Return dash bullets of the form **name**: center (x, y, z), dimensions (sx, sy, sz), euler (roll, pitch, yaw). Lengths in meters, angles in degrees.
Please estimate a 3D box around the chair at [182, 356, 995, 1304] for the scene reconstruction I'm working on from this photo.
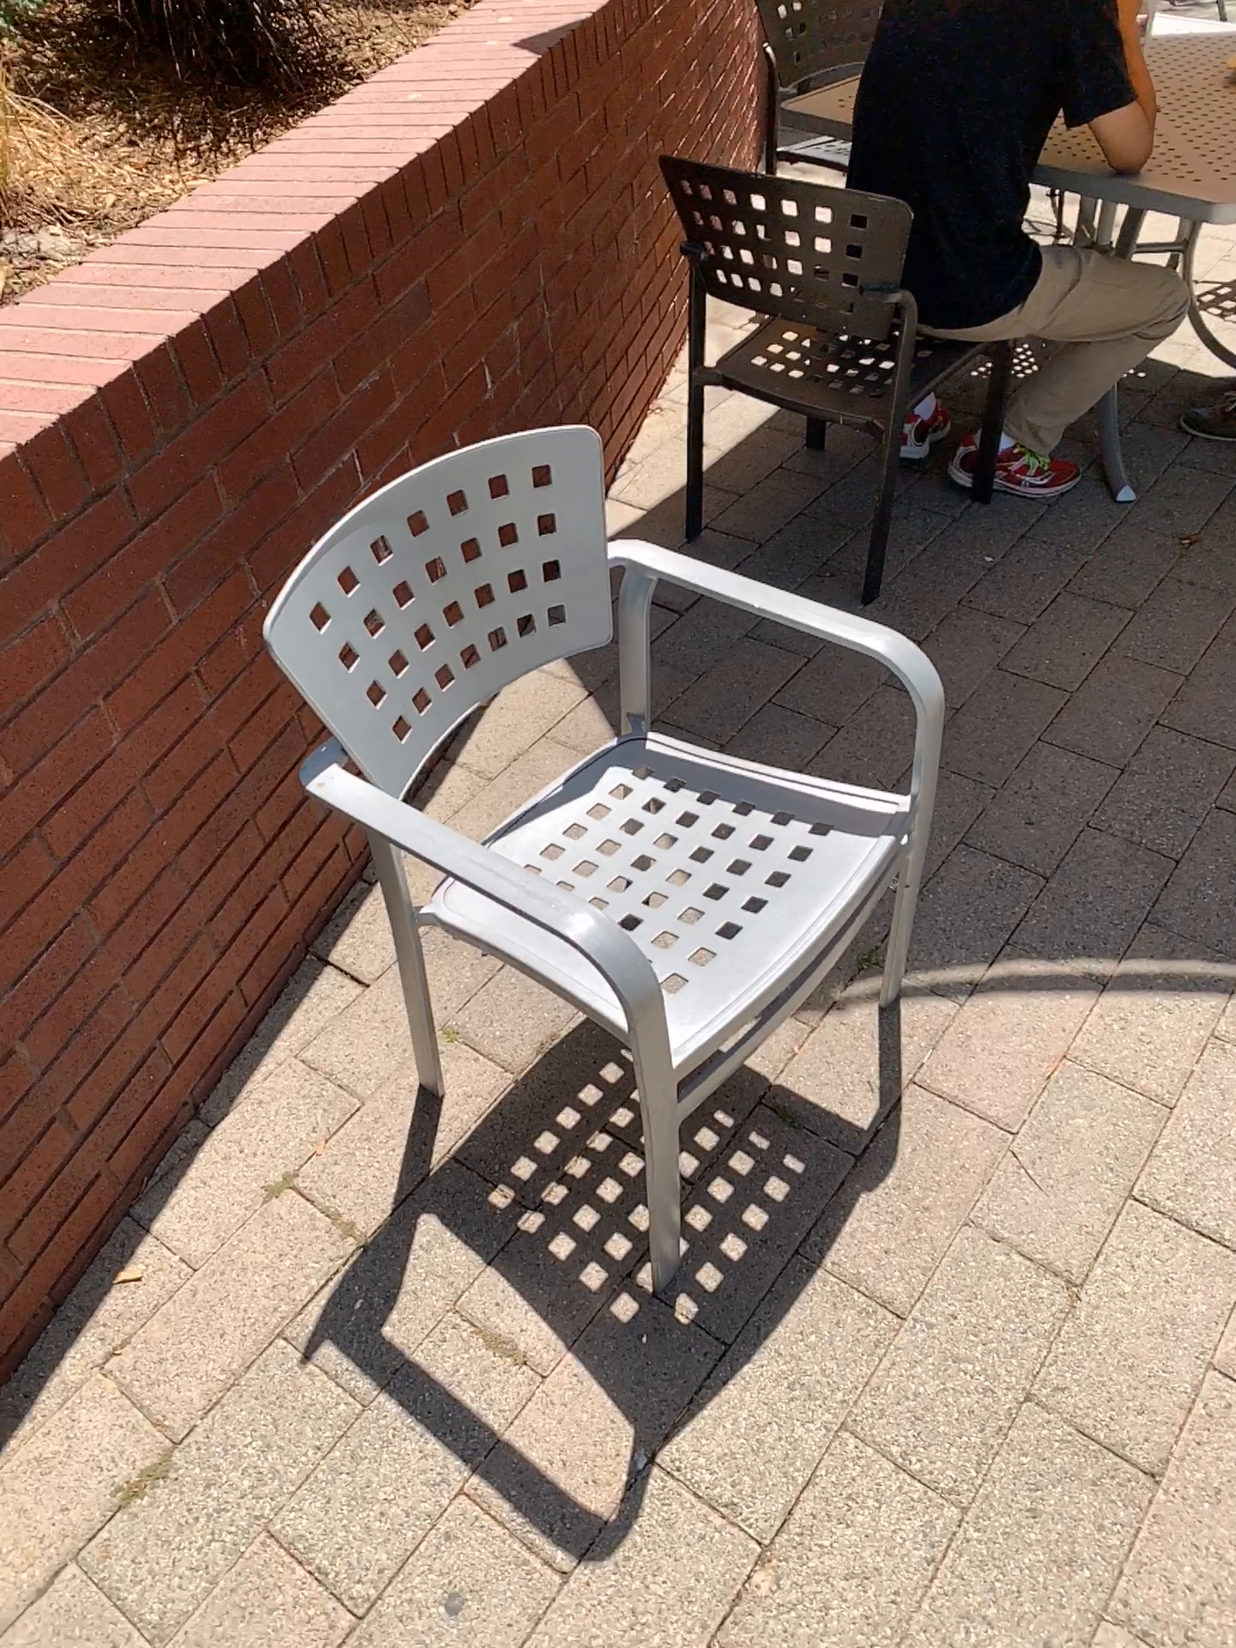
- **chair**: center (0.014, -0.005, 1.387), dimensions (0.493, 0.718, 0.558), euler (24, 51, 29)
